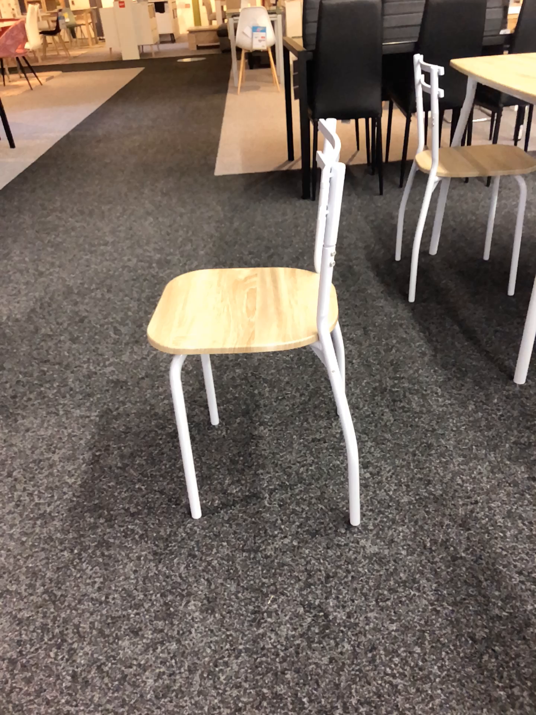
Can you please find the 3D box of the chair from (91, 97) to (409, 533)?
[{"bbox_3d":[-0.013,-0.093,1.218,0.440,0.726,0.503,-3,33,0],"label":"chair"}]
